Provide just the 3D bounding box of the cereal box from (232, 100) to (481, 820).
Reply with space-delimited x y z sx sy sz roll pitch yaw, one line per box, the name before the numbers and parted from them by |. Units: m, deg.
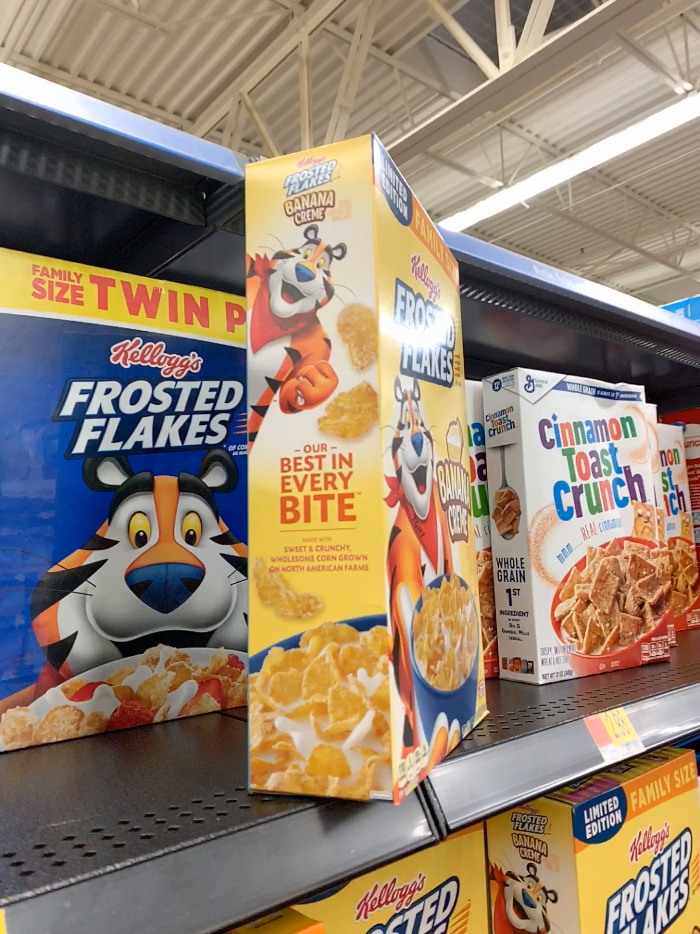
cereal box | 0.014 -0.002 0.443 0.080 0.341 0.200 -4 -8 21
